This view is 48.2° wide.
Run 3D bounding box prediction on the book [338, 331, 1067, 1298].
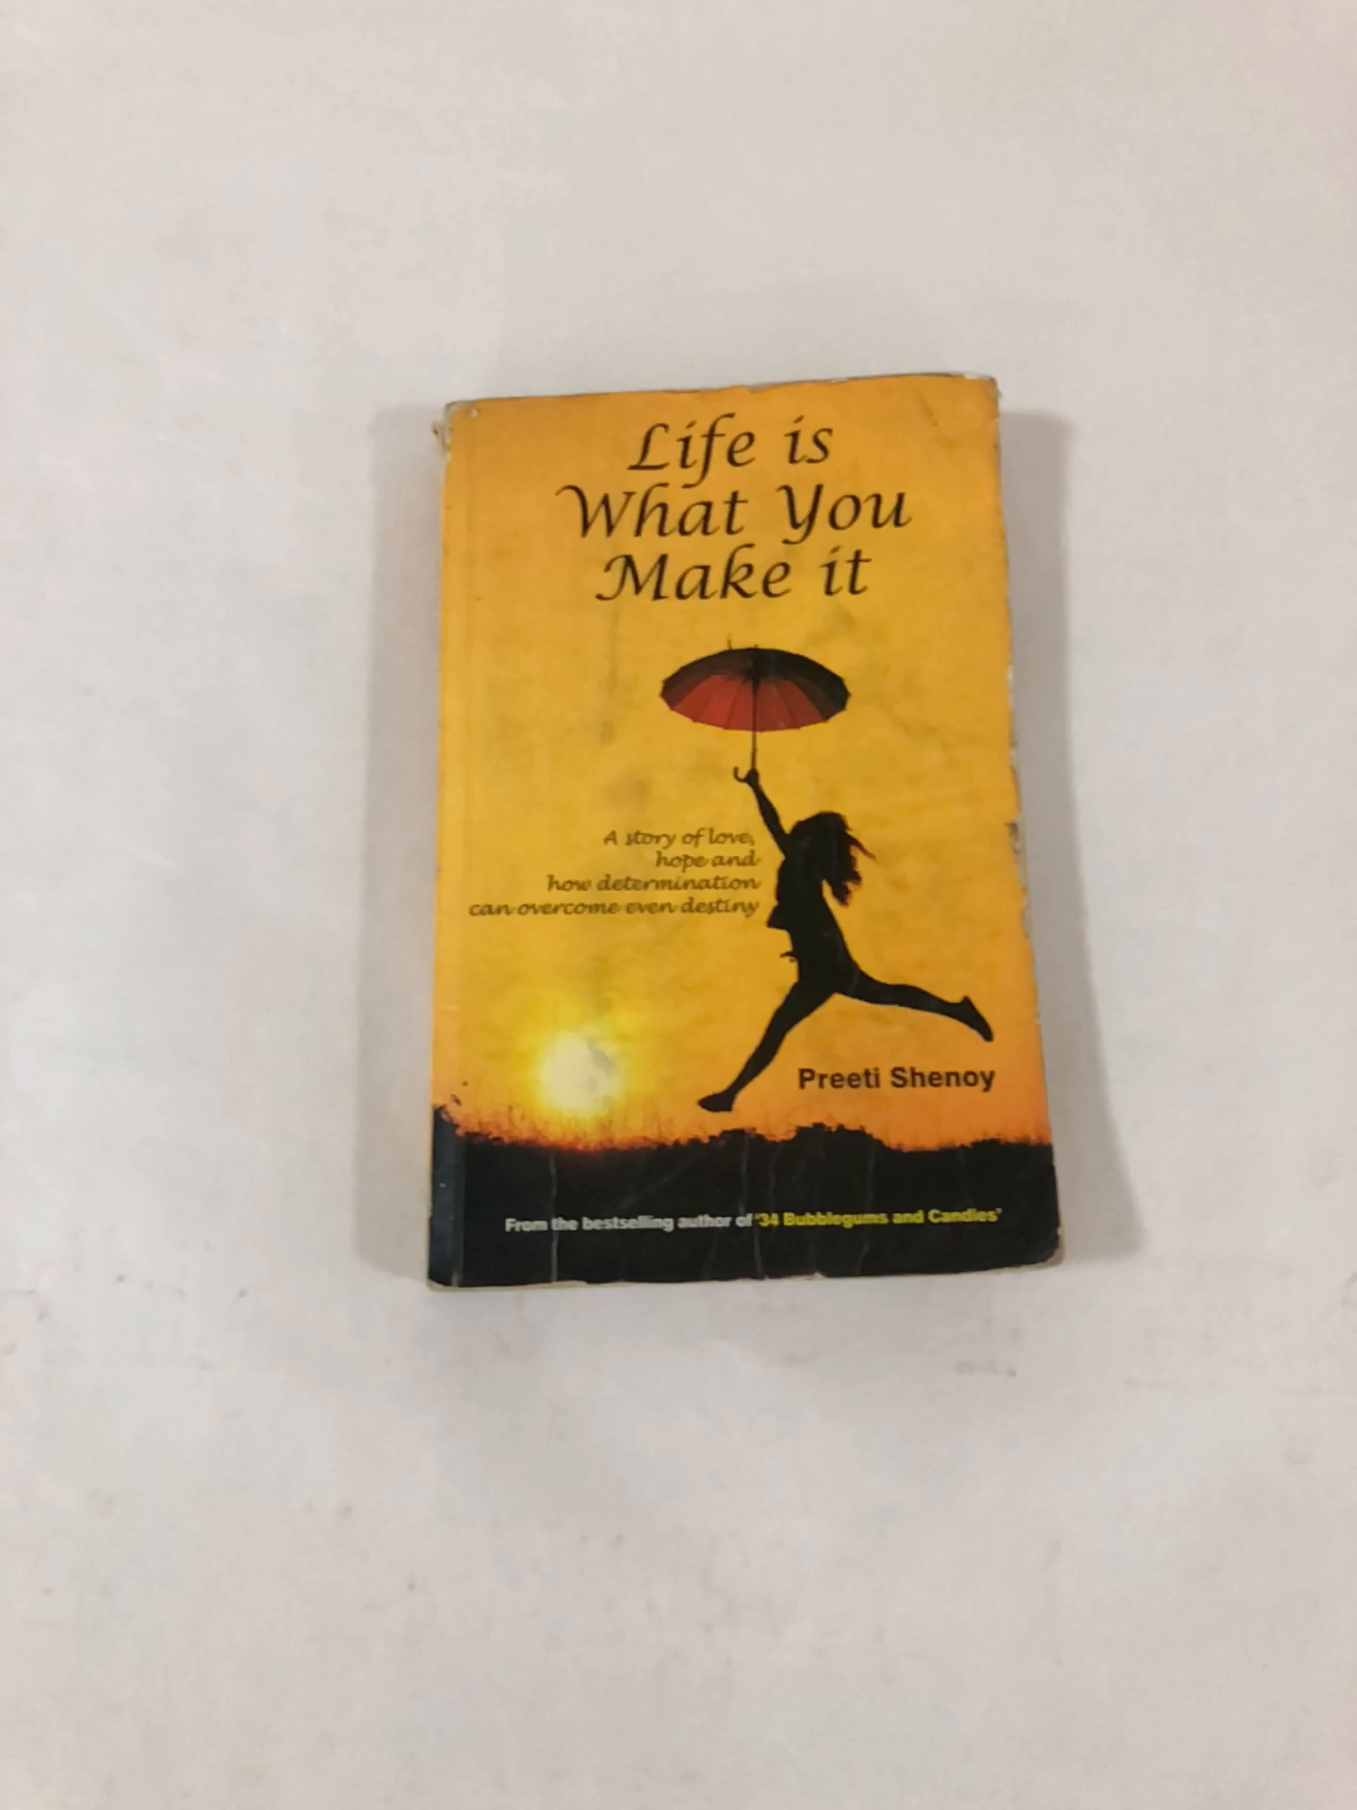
[{"bbox_3d":[0.001,-0.026,0.328,0.140,0.020,0.210,-2,75,-1],"label":"book"}]
